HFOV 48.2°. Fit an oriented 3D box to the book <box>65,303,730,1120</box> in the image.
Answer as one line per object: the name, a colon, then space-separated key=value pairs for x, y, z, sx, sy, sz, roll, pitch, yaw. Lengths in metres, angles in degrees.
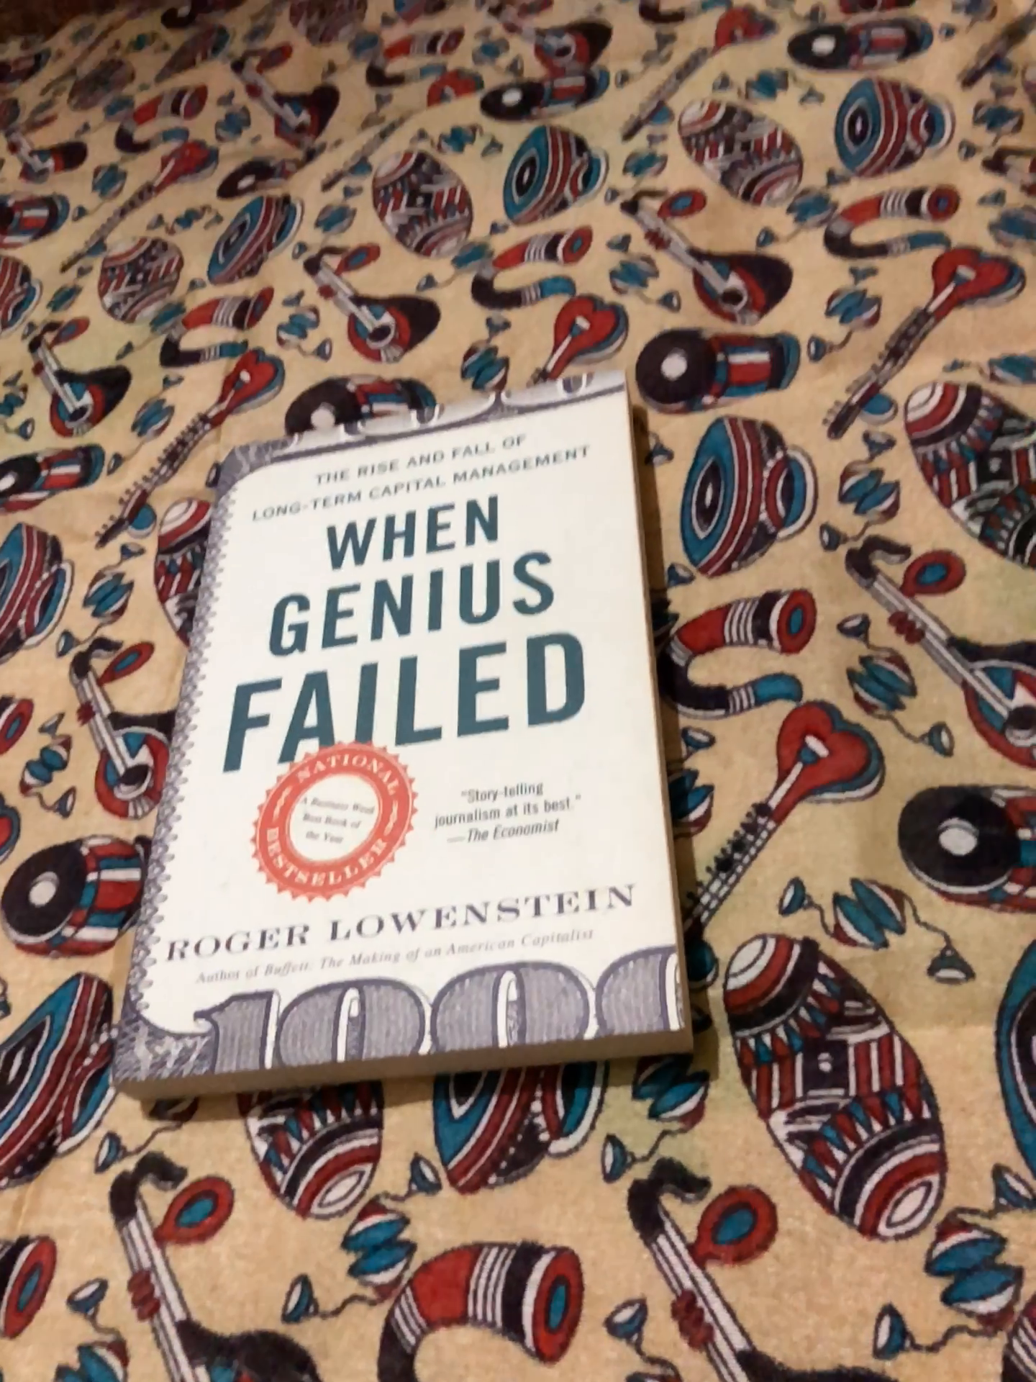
book: x=-0.027 y=-0.007 z=0.310 sx=0.140 sy=0.030 sz=0.220 roll=-7 pitch=56 yaw=10
